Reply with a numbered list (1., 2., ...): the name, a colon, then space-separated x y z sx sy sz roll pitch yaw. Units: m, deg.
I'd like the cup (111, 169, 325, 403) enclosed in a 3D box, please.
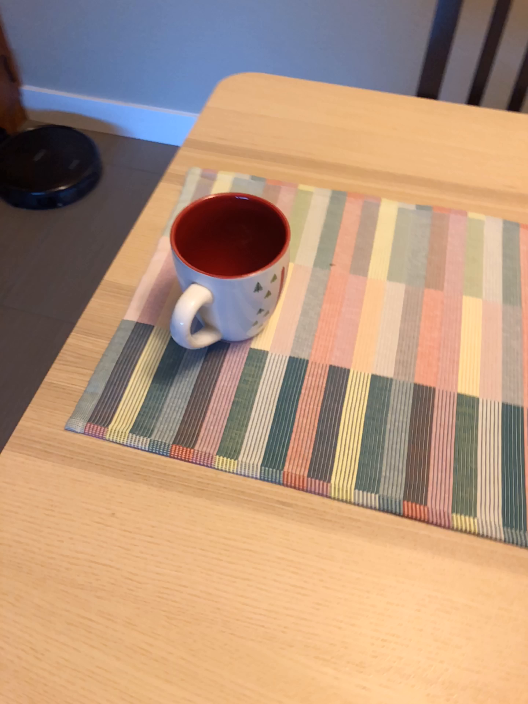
1. cup: -0.031 -0.056 0.471 0.100 0.090 0.140 24 57 16
